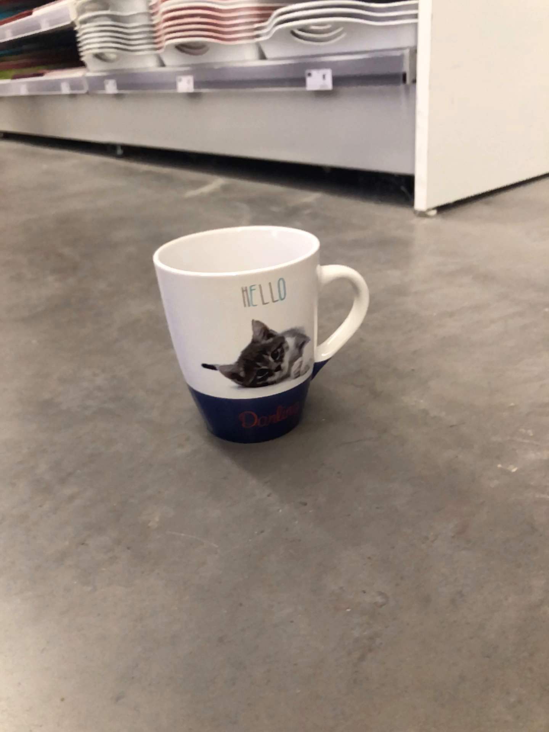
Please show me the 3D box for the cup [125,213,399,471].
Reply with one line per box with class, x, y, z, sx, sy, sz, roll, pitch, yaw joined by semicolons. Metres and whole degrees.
cup;-0.010;-0.024;0.366;0.127;0.098;0.112;-12;27;-15
